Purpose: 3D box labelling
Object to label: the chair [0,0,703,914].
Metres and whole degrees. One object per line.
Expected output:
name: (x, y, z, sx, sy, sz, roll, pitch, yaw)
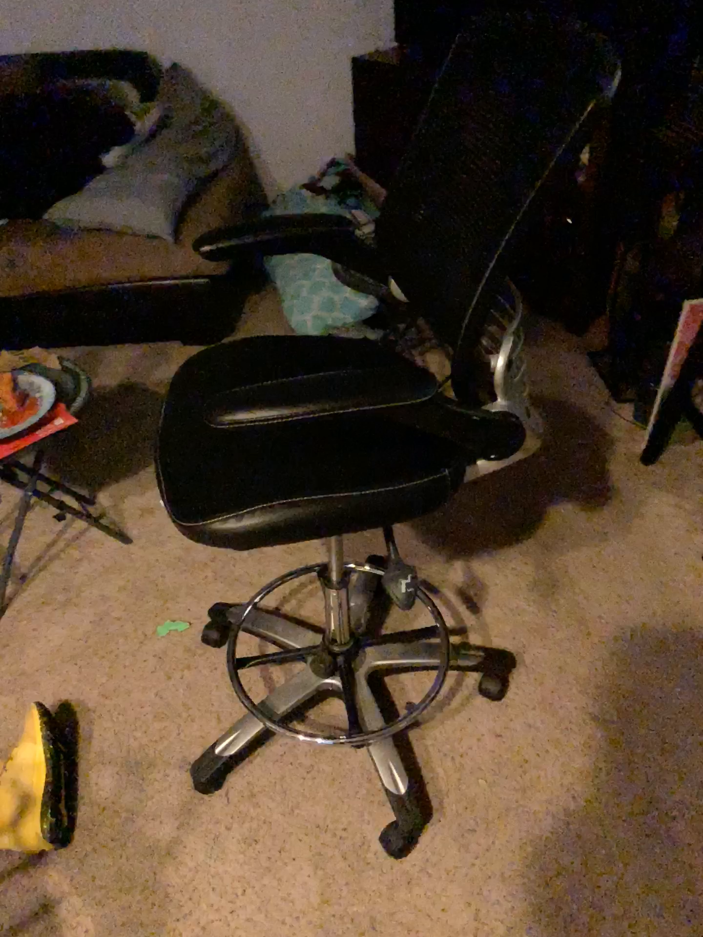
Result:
chair: (-0.003, -0.035, 1.206, 0.700, 1.120, 0.780, -8, 38, -7)
